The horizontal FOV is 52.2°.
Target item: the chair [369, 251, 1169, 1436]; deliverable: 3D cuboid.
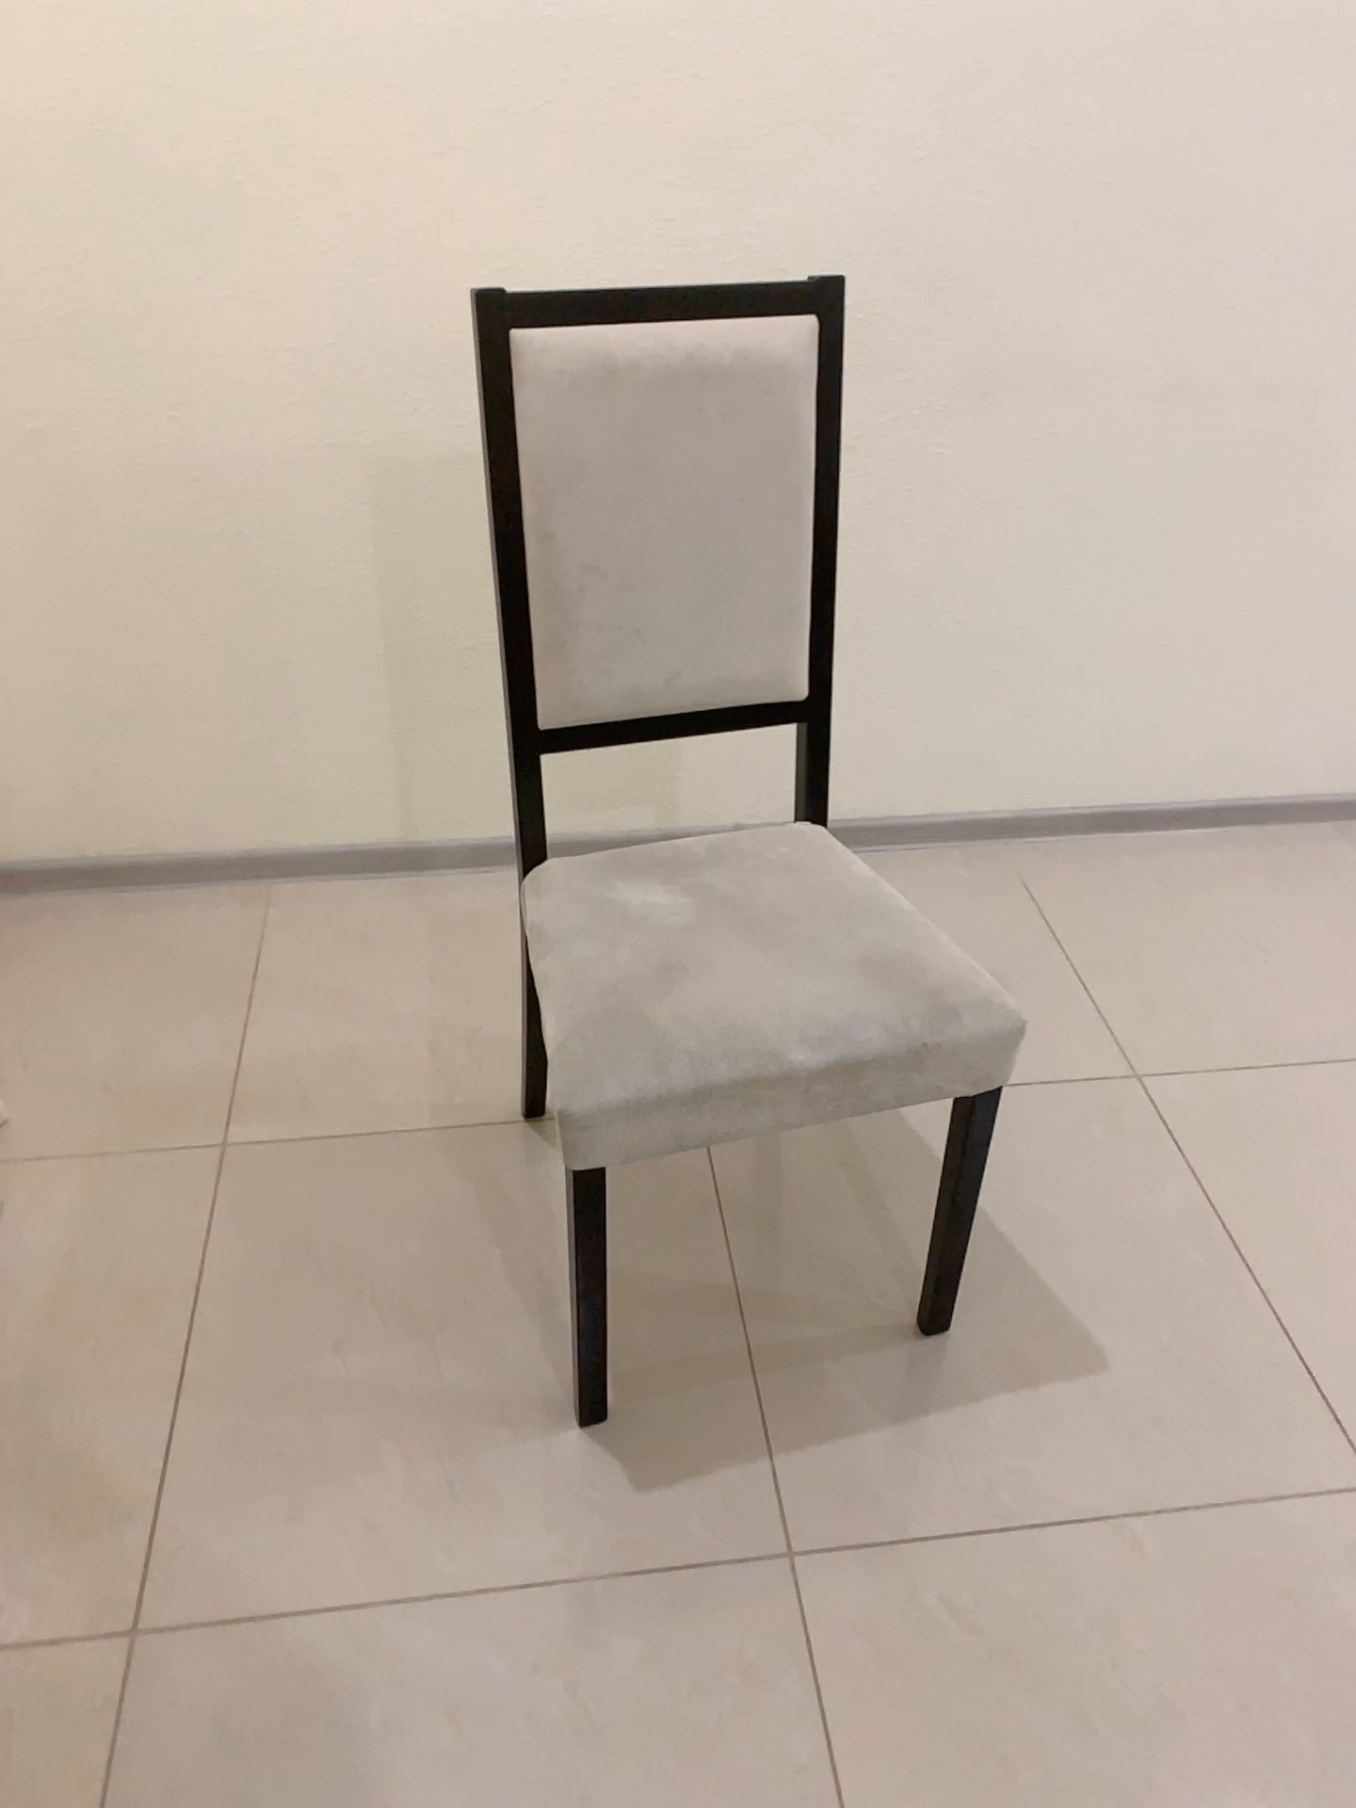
[{"bbox_3d":[0.036,-0.051,1.354,0.480,0.964,0.513,-10,36,-13],"label":"chair"}]
